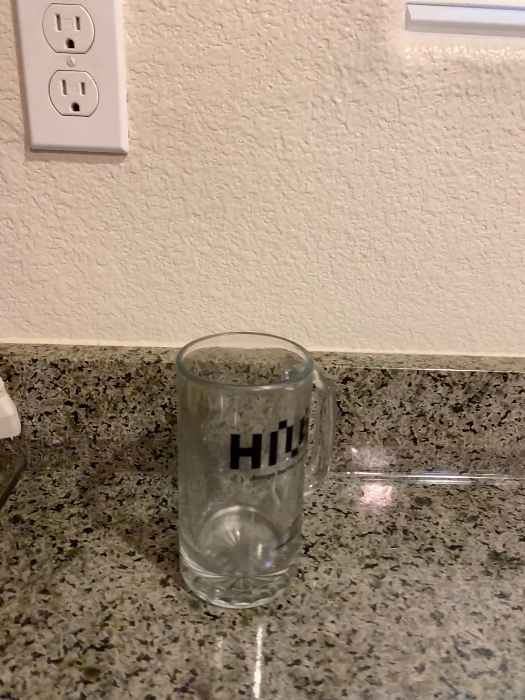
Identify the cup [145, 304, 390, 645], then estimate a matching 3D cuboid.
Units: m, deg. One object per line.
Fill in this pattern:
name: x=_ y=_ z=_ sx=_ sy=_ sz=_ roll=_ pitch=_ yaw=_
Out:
cup: x=0.002 y=0.068 z=0.345 sx=0.120 sy=0.159 sz=0.080 roll=-17 pitch=30 yaw=-39
